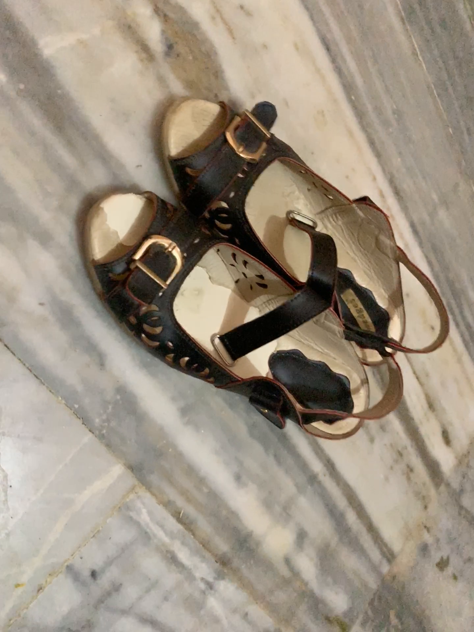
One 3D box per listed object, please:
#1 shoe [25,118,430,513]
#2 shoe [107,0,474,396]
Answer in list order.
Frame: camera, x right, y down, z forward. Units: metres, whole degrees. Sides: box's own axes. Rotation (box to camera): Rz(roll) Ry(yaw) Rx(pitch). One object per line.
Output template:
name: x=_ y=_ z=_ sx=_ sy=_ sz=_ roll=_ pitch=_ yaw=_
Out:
shoe: x=0.007 y=0.016 z=0.335 sx=0.261 sy=0.100 sz=0.100 roll=43 pitch=71 yaw=-28
shoe: x=0.052 y=-0.062 z=0.358 sx=0.261 sy=0.100 sz=0.100 roll=43 pitch=71 yaw=-28
